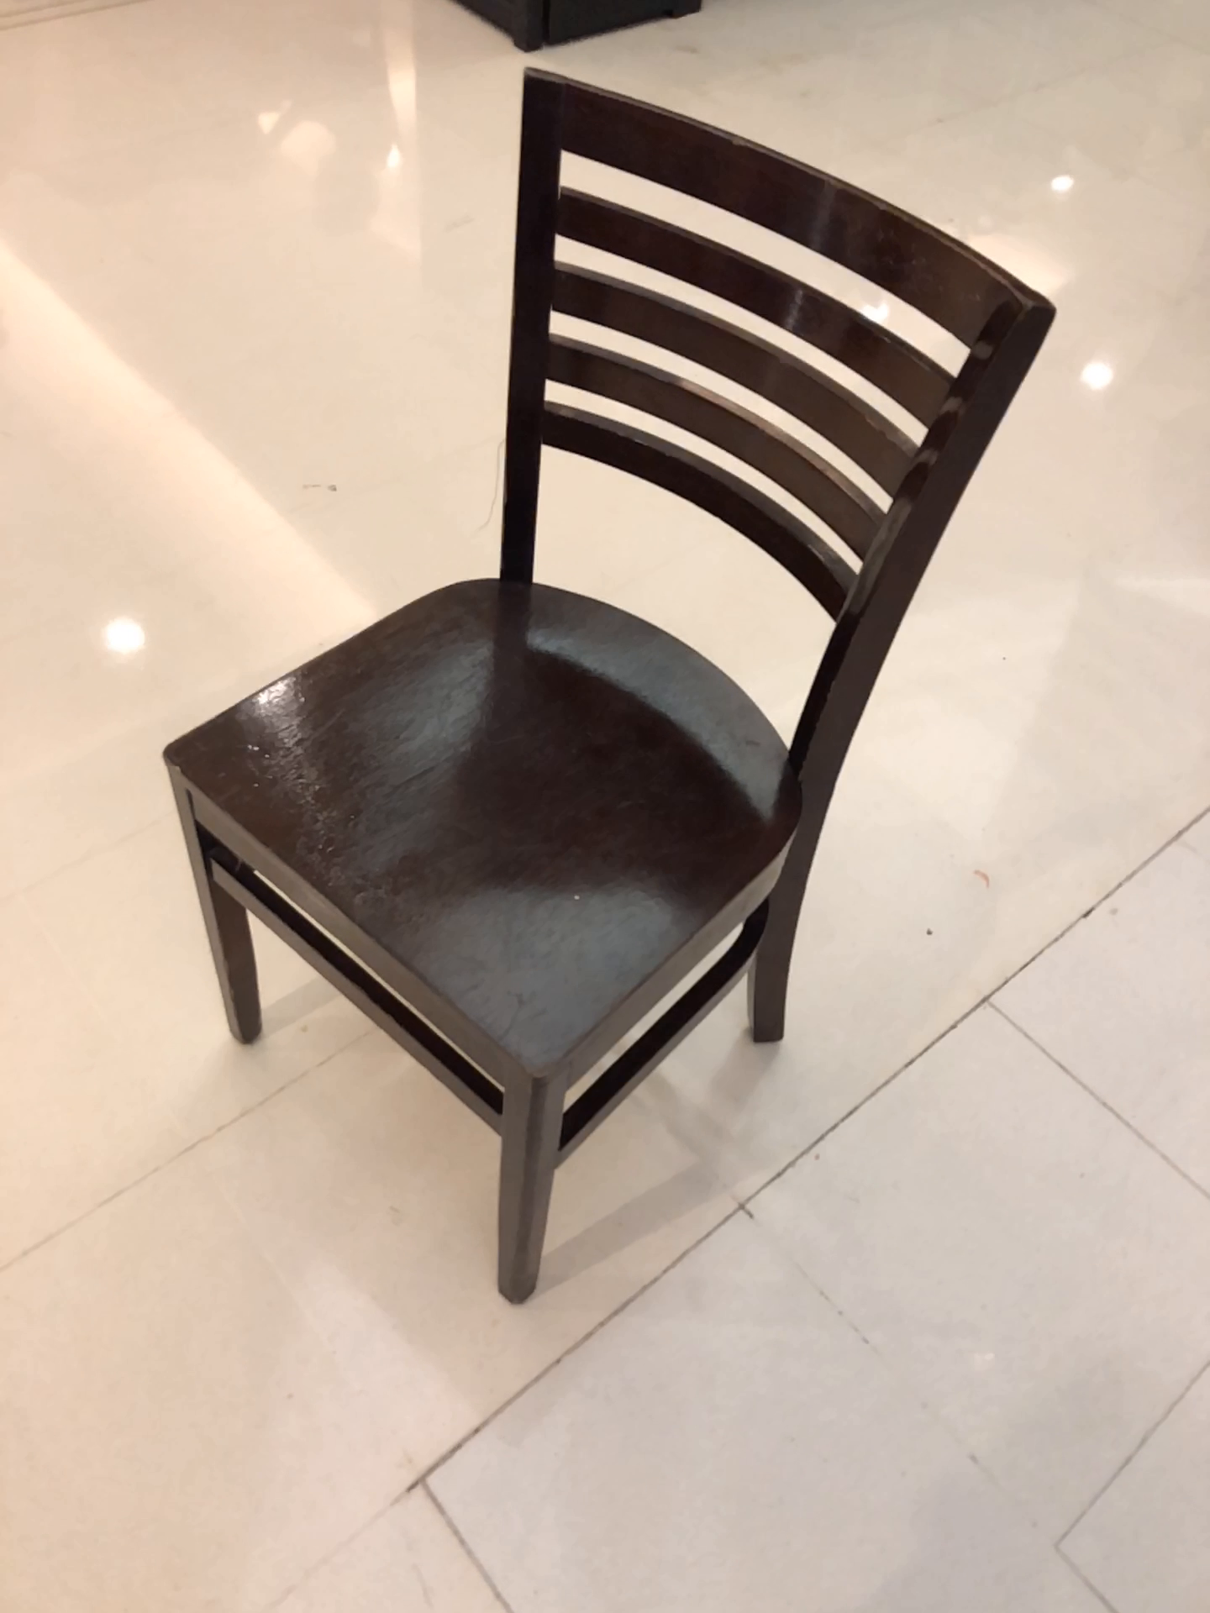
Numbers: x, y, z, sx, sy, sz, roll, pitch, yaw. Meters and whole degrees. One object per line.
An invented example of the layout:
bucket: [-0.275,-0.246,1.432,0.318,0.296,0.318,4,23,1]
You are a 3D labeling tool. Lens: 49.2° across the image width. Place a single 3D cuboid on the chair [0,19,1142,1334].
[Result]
chair: [-0.044,-0.064,1.108,0.461,0.844,0.542,37,56,23]
